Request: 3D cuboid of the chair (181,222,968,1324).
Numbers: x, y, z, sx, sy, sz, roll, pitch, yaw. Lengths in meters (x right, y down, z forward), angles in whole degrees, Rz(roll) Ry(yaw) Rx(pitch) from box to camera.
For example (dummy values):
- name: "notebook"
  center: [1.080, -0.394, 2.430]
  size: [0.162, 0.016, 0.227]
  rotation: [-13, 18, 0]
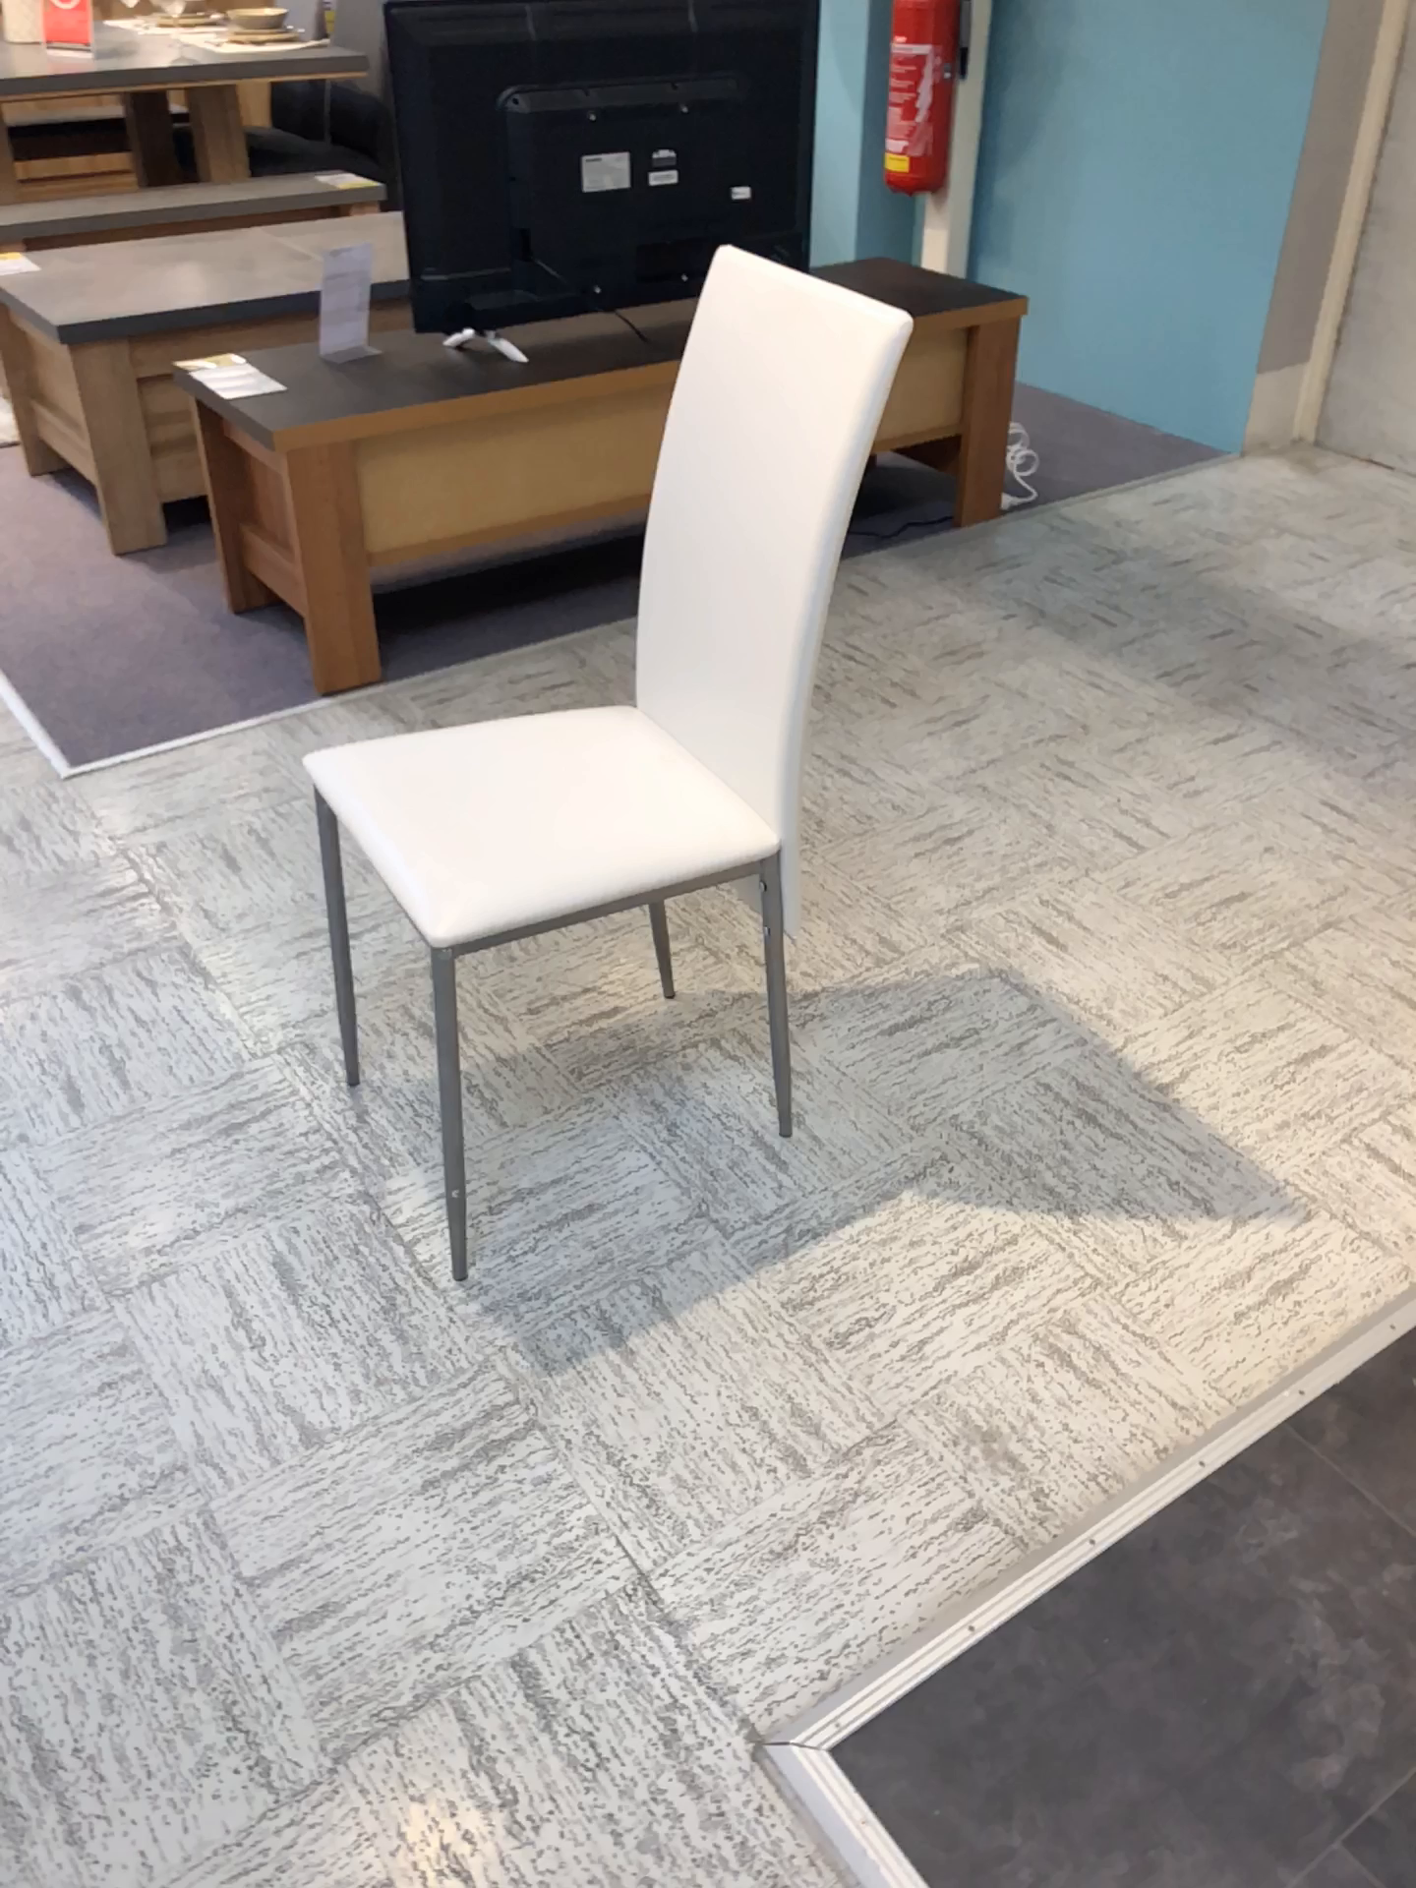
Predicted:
- name: "chair"
  center: [-0.137, -0.184, 1.628]
  size: [0.552, 0.944, 0.471]
  rotation: [-16, 37, -22]
